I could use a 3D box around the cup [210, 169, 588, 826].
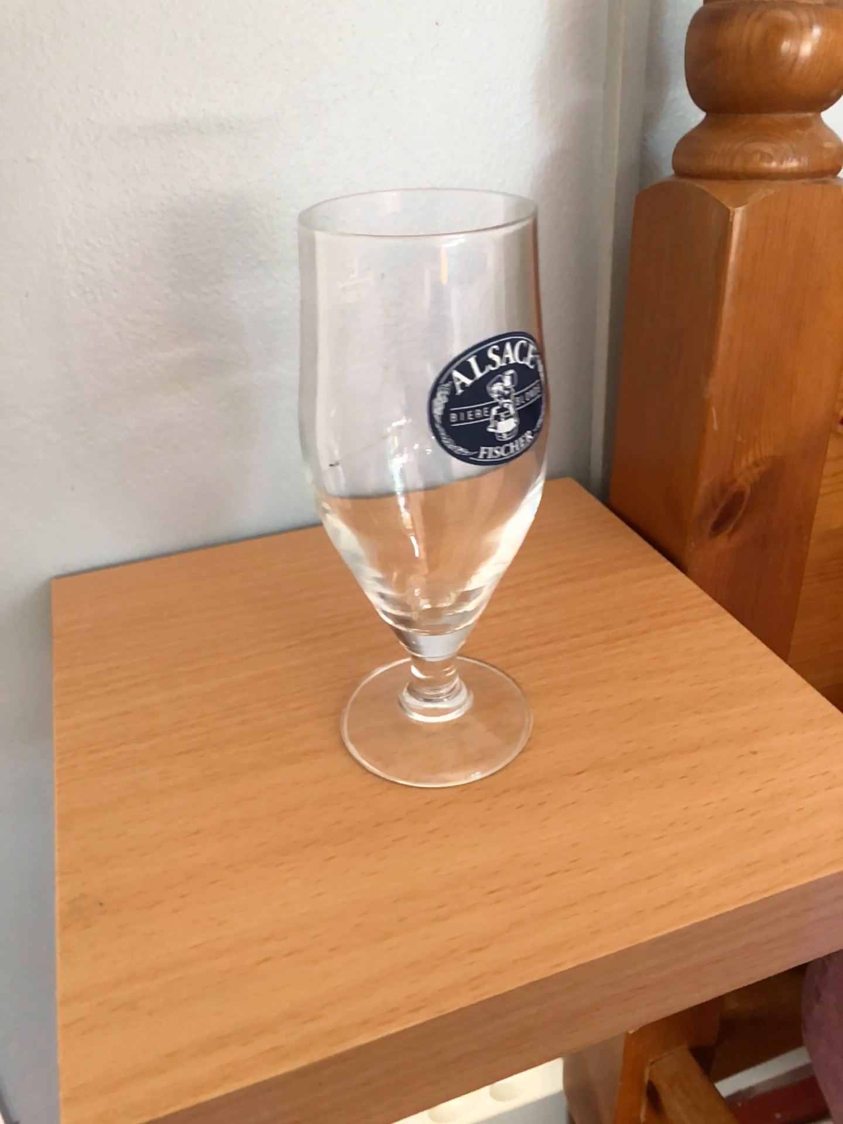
[{"bbox_3d":[-0.003,-0.019,0.274,0.068,0.166,0.068,-2,30,1],"label":"cup"}]
